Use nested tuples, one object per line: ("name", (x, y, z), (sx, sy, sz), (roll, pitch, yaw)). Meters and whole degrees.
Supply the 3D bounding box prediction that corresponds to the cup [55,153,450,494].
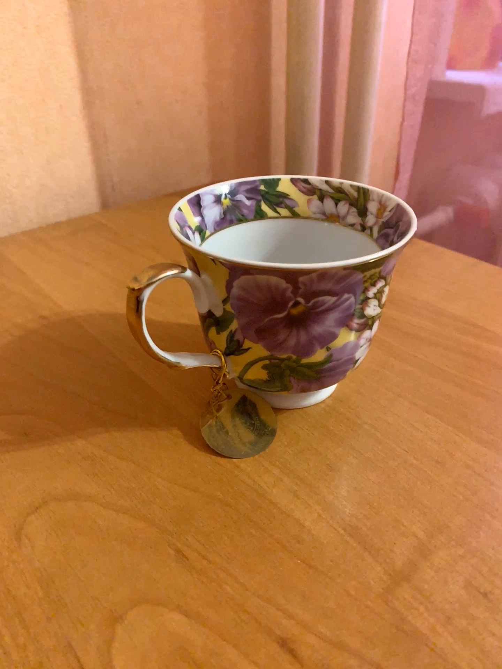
("cup", (0.002, -0.015, 0.195), (0.109, 0.069, 0.077), (-24, 39, -31))
